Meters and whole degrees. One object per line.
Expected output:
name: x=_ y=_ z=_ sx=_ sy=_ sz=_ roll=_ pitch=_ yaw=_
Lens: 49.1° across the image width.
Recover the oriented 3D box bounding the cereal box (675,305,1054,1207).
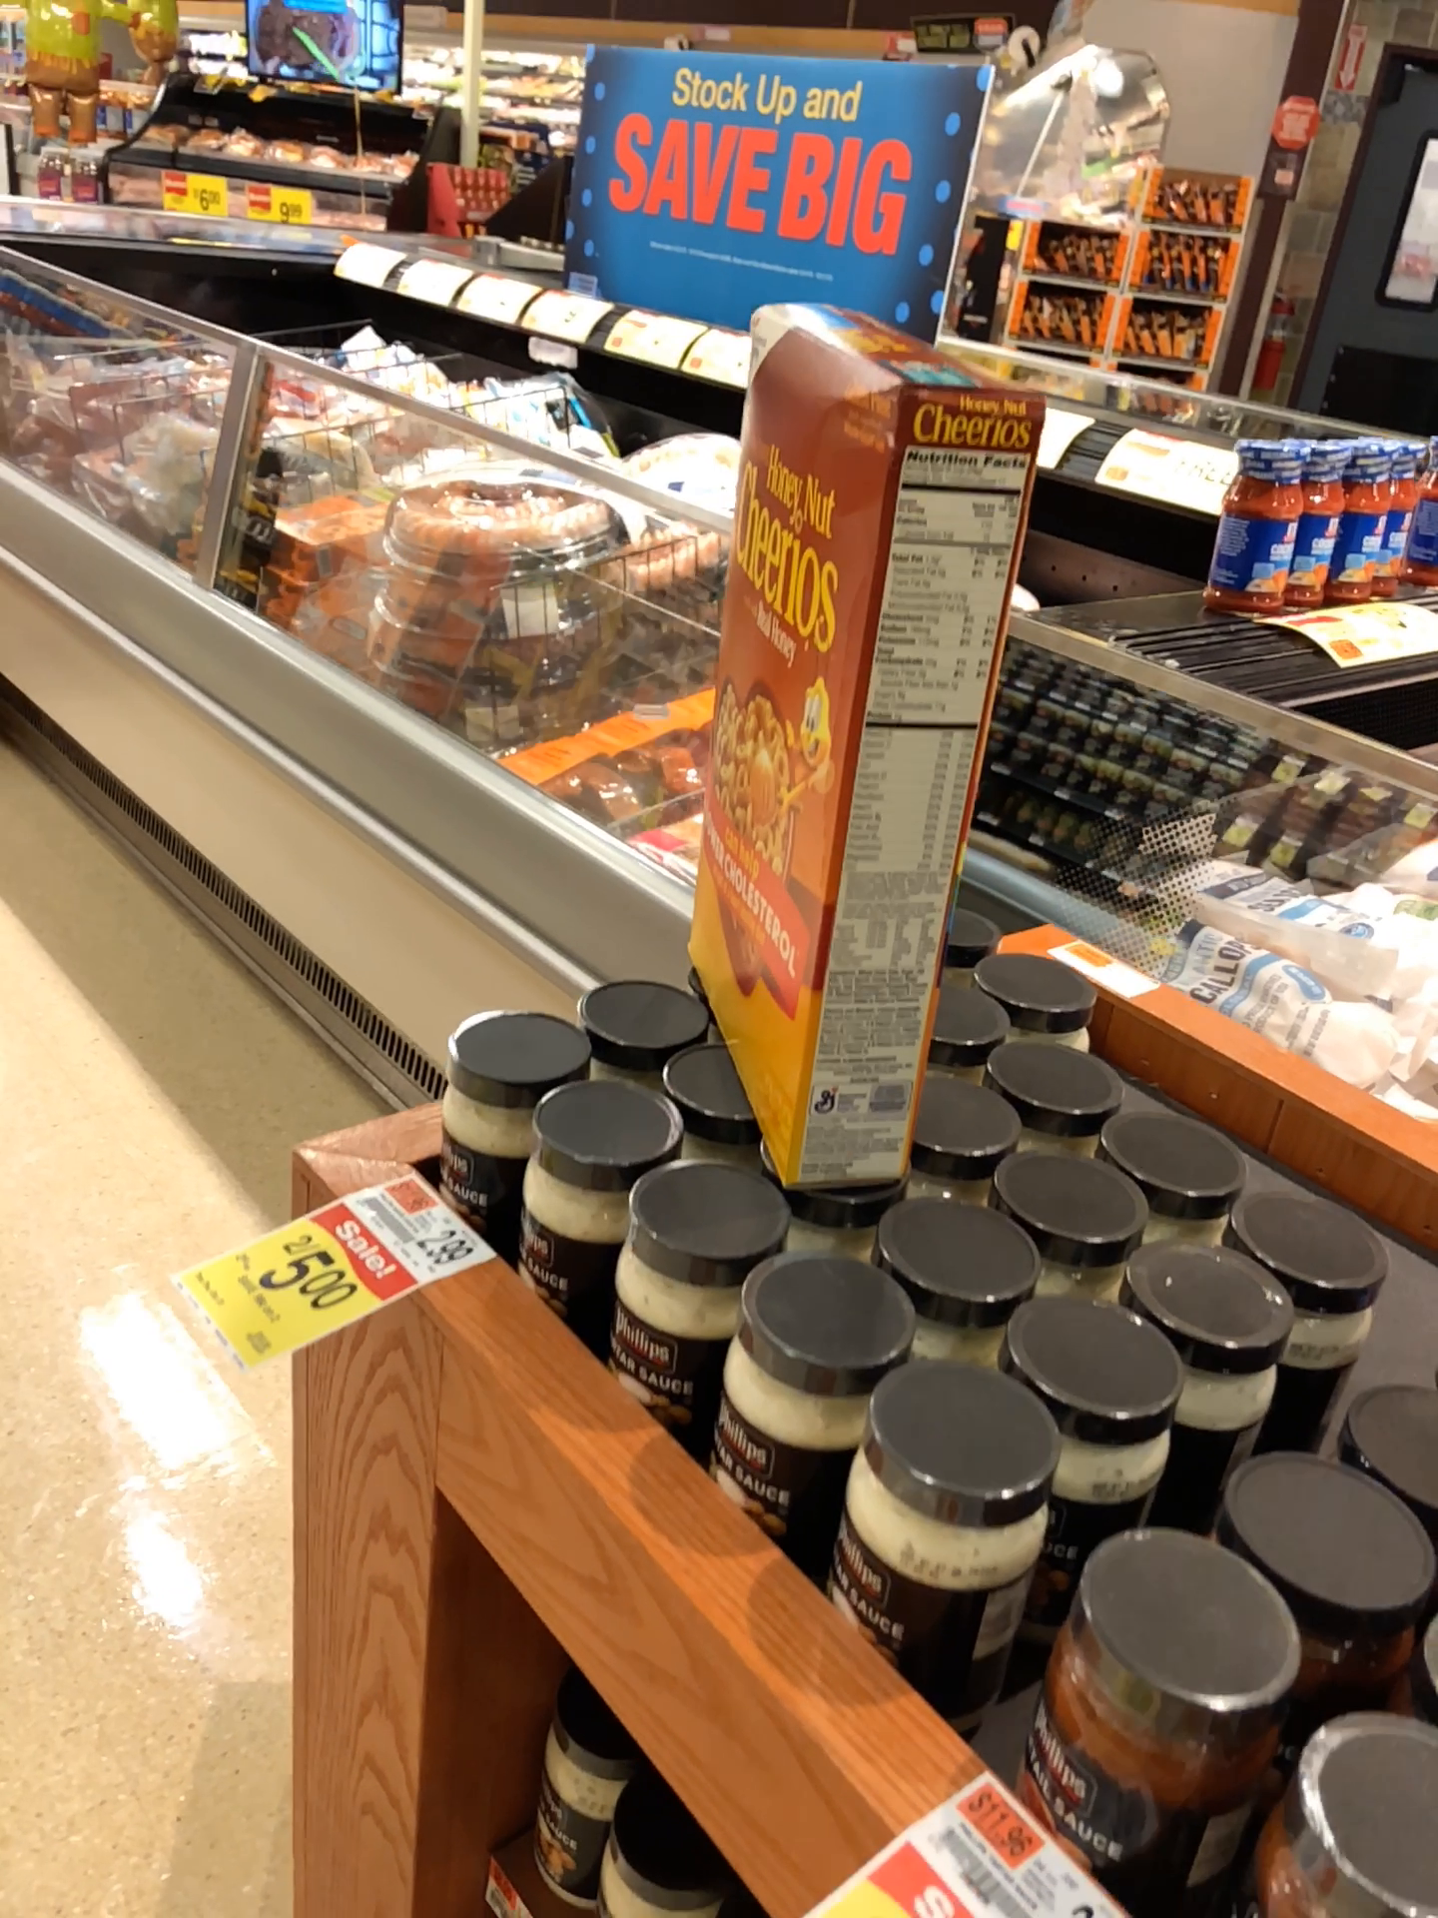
cereal box: x=0.038 y=-0.084 z=0.605 sx=0.050 sy=0.288 sz=0.201 roll=1 pitch=27 yaw=-13
